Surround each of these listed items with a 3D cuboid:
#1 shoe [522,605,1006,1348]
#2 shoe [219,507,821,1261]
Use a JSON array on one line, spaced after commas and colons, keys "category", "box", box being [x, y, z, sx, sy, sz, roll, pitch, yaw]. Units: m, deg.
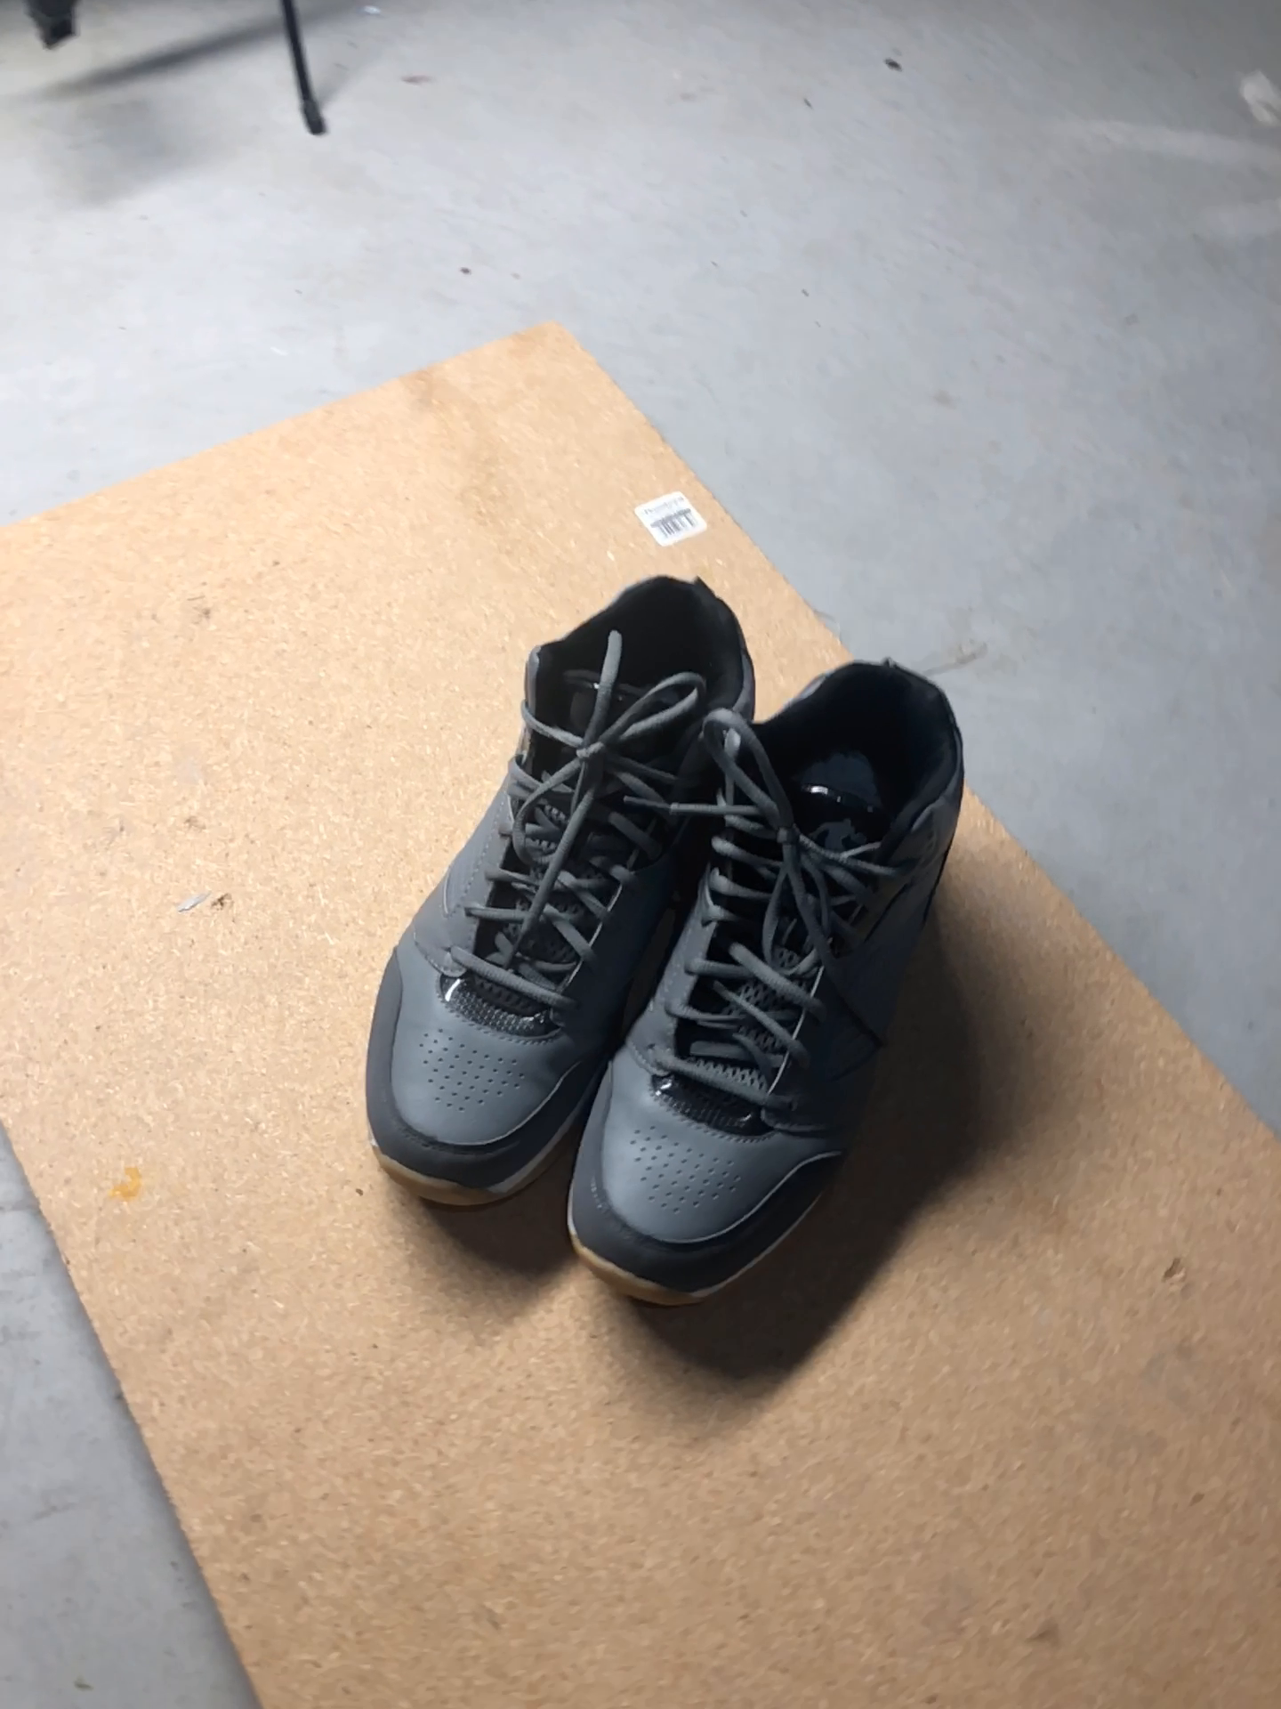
[{"category": "shoe", "box": [0.053, 0.048, 0.594, 0.100, 0.140, 0.260, 21, 59, 9]}, {"category": "shoe", "box": [-0.038, 0.005, 0.597, 0.110, 0.120, 0.280, 25, 60, 11]}]
